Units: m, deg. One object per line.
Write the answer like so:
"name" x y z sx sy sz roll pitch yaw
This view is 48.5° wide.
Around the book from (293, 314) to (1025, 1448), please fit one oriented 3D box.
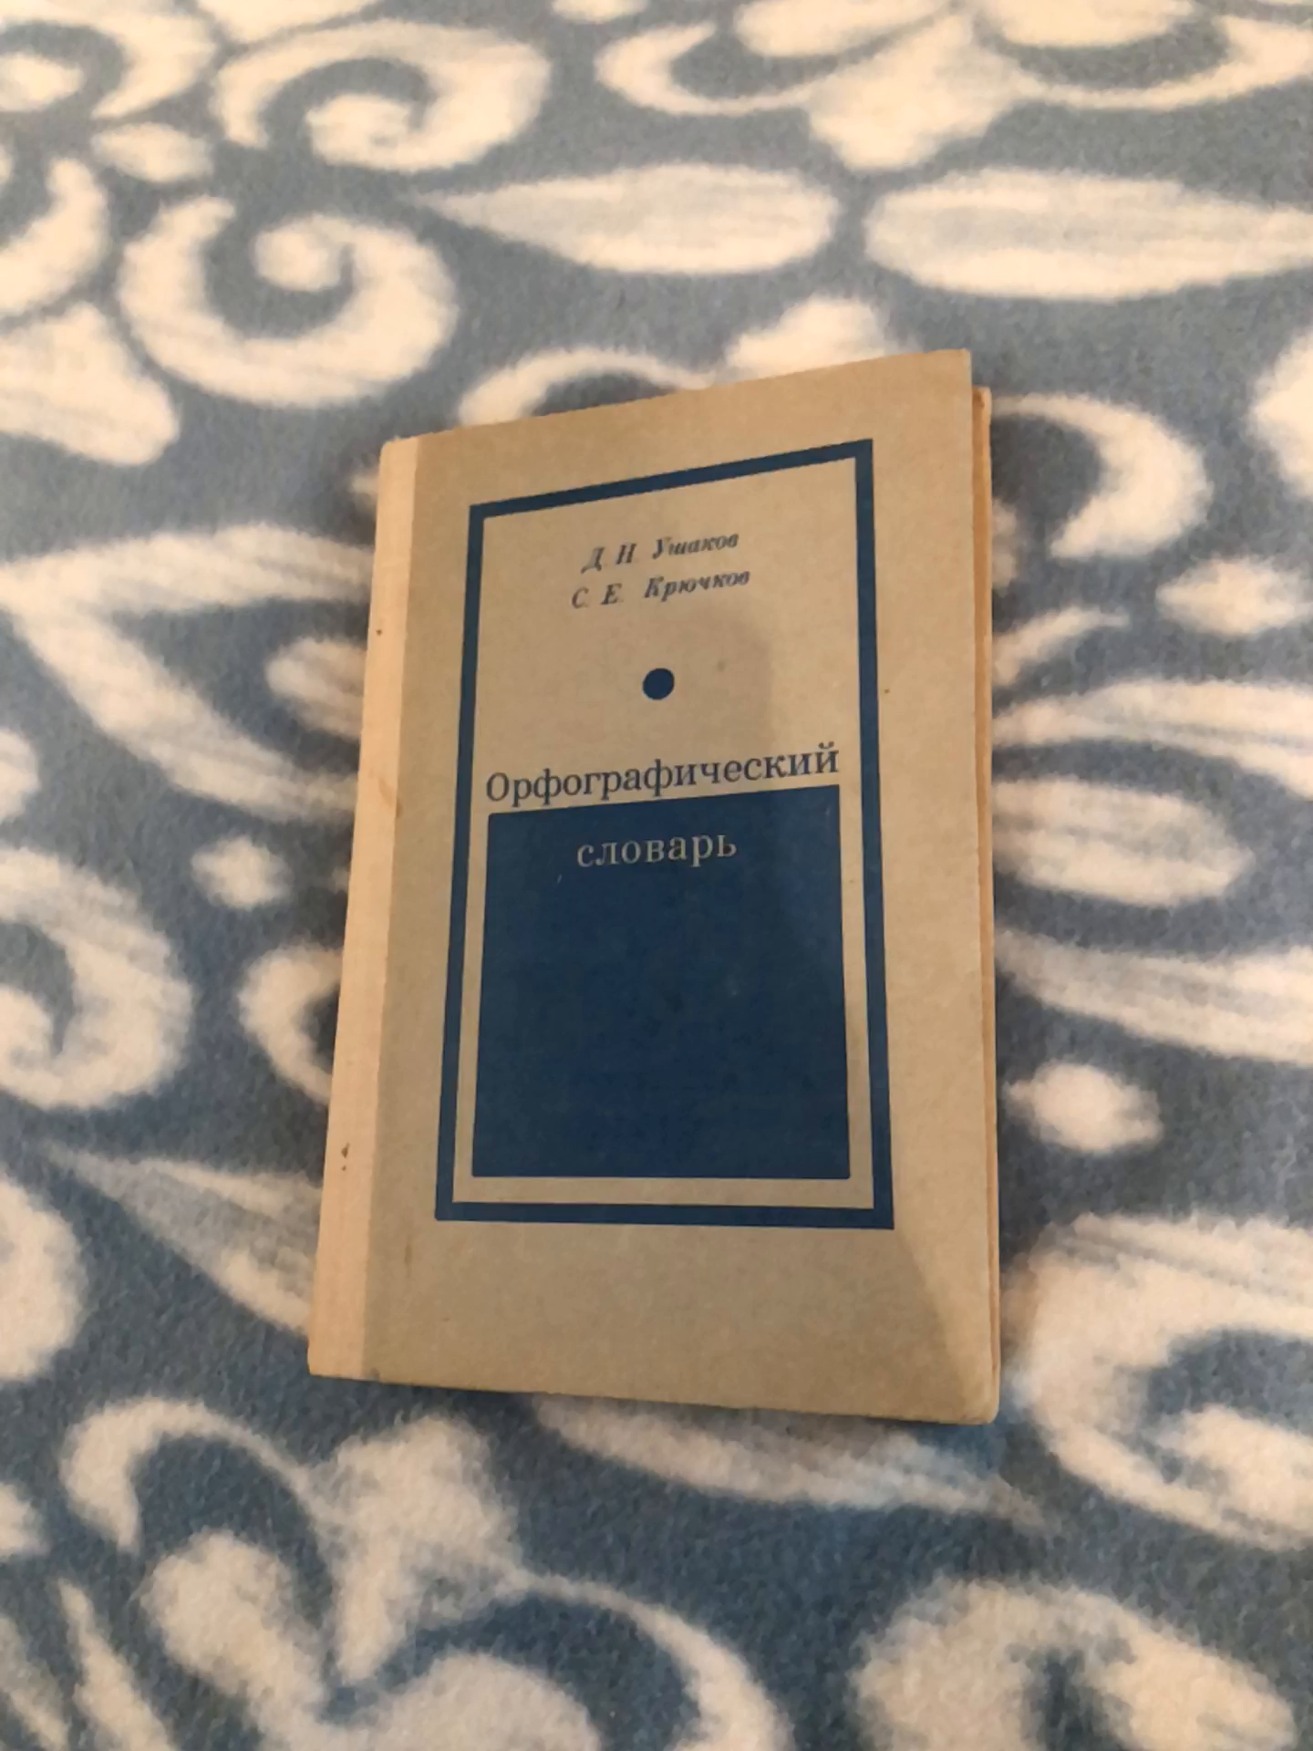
"book" 0.001 -0.003 0.296 0.137 0.022 0.210 -3 76 19
